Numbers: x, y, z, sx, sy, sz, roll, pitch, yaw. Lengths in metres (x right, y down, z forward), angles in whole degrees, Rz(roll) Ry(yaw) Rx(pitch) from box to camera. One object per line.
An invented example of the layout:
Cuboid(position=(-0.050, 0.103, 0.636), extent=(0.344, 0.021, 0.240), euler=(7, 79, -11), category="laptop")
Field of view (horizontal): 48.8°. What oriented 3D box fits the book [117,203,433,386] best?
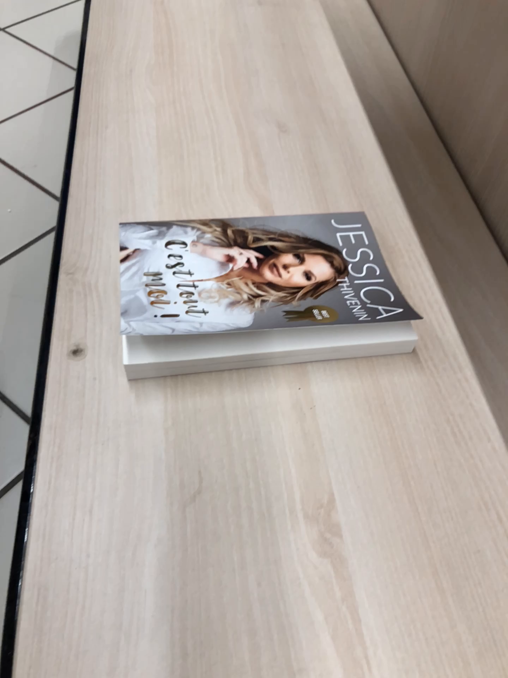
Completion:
Cuboid(position=(0.007, -0.042, 0.423), extent=(0.212, 0.020, 0.146), euler=(-5, 54, -9), category="book")
